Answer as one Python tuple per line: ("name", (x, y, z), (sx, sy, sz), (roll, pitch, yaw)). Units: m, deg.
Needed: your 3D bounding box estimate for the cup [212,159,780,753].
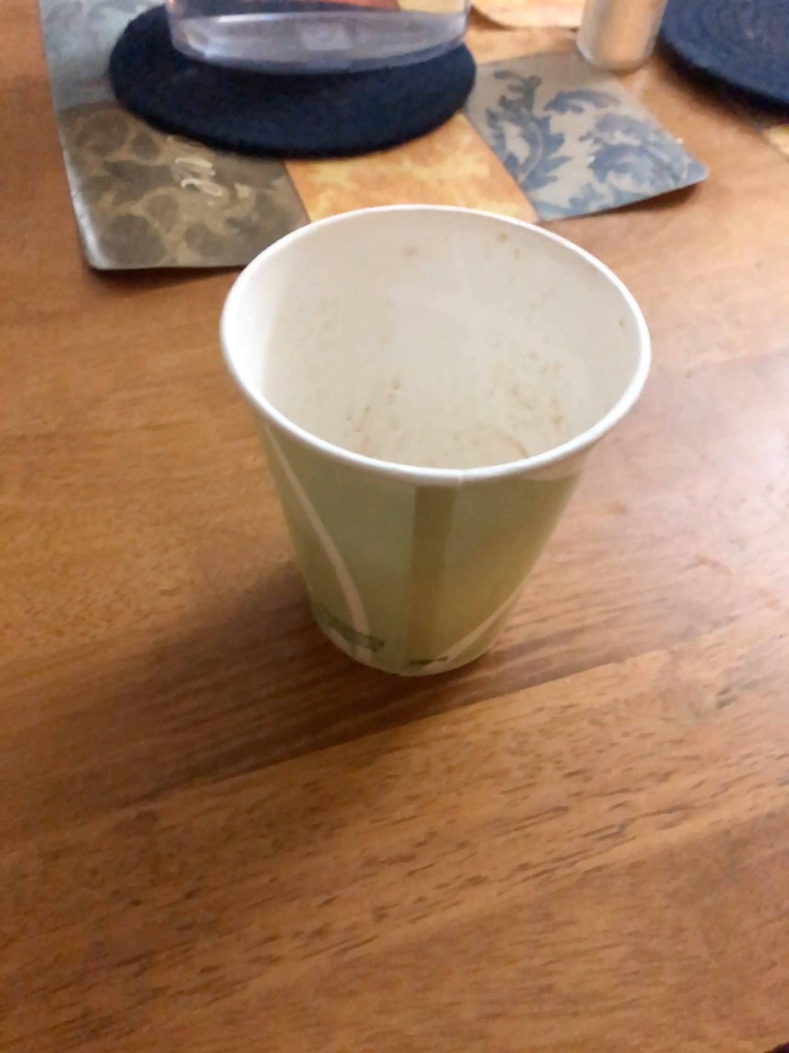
("cup", (0.014, -0.019, 0.225), (0.090, 0.090, 0.100), (-14, 54, -14))
